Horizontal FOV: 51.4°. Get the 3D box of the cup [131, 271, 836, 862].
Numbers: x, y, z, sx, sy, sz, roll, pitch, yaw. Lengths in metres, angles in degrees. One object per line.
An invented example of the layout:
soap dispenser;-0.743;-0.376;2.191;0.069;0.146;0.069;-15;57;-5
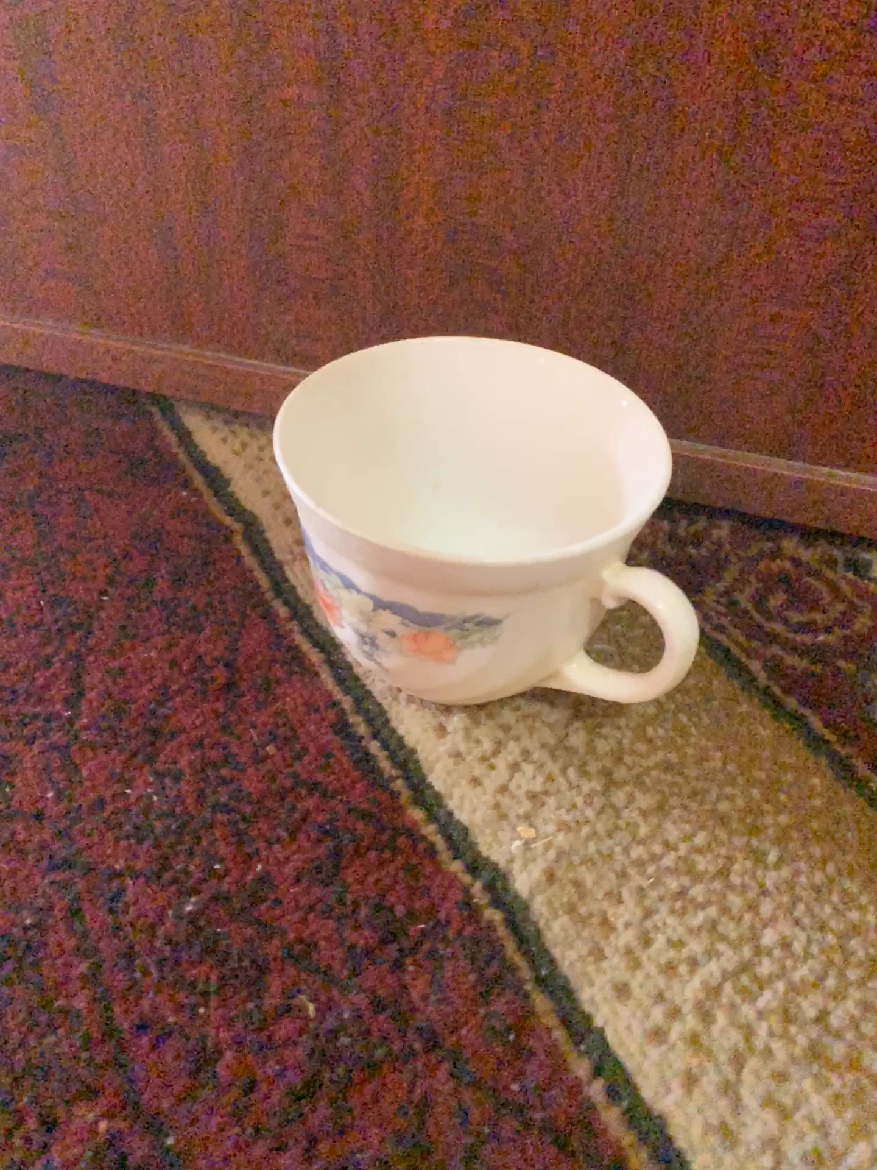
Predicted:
cup;0.008;-0.015;0.193;0.110;0.053;0.083;27;46;26
